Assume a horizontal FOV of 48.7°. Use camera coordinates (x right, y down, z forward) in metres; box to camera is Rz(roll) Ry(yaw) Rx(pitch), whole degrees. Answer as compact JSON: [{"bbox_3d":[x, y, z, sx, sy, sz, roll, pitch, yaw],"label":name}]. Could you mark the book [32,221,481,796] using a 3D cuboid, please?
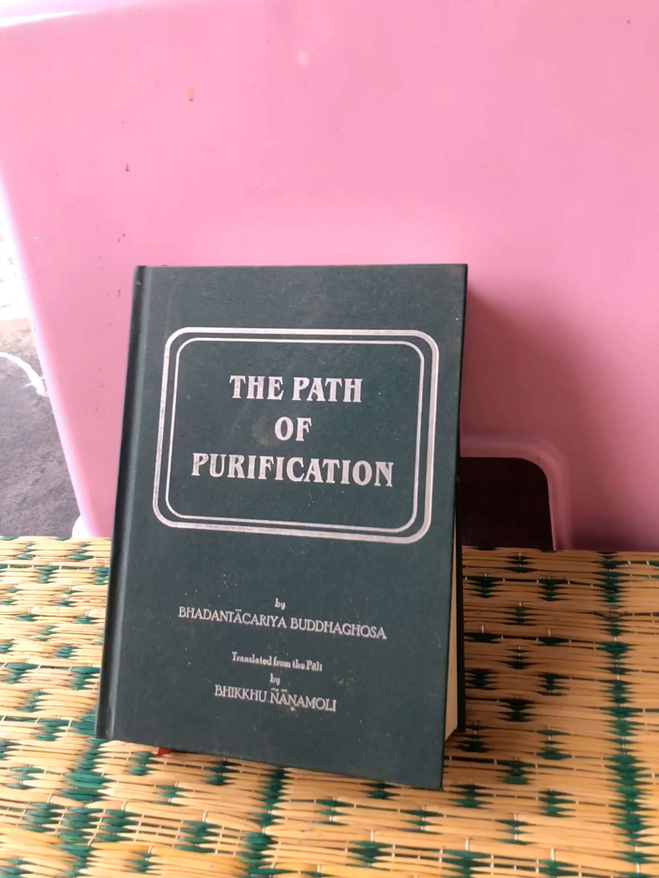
[{"bbox_3d":[-0.022,0.022,0.326,0.160,0.080,0.210,2,80,16],"label":"book"}]
